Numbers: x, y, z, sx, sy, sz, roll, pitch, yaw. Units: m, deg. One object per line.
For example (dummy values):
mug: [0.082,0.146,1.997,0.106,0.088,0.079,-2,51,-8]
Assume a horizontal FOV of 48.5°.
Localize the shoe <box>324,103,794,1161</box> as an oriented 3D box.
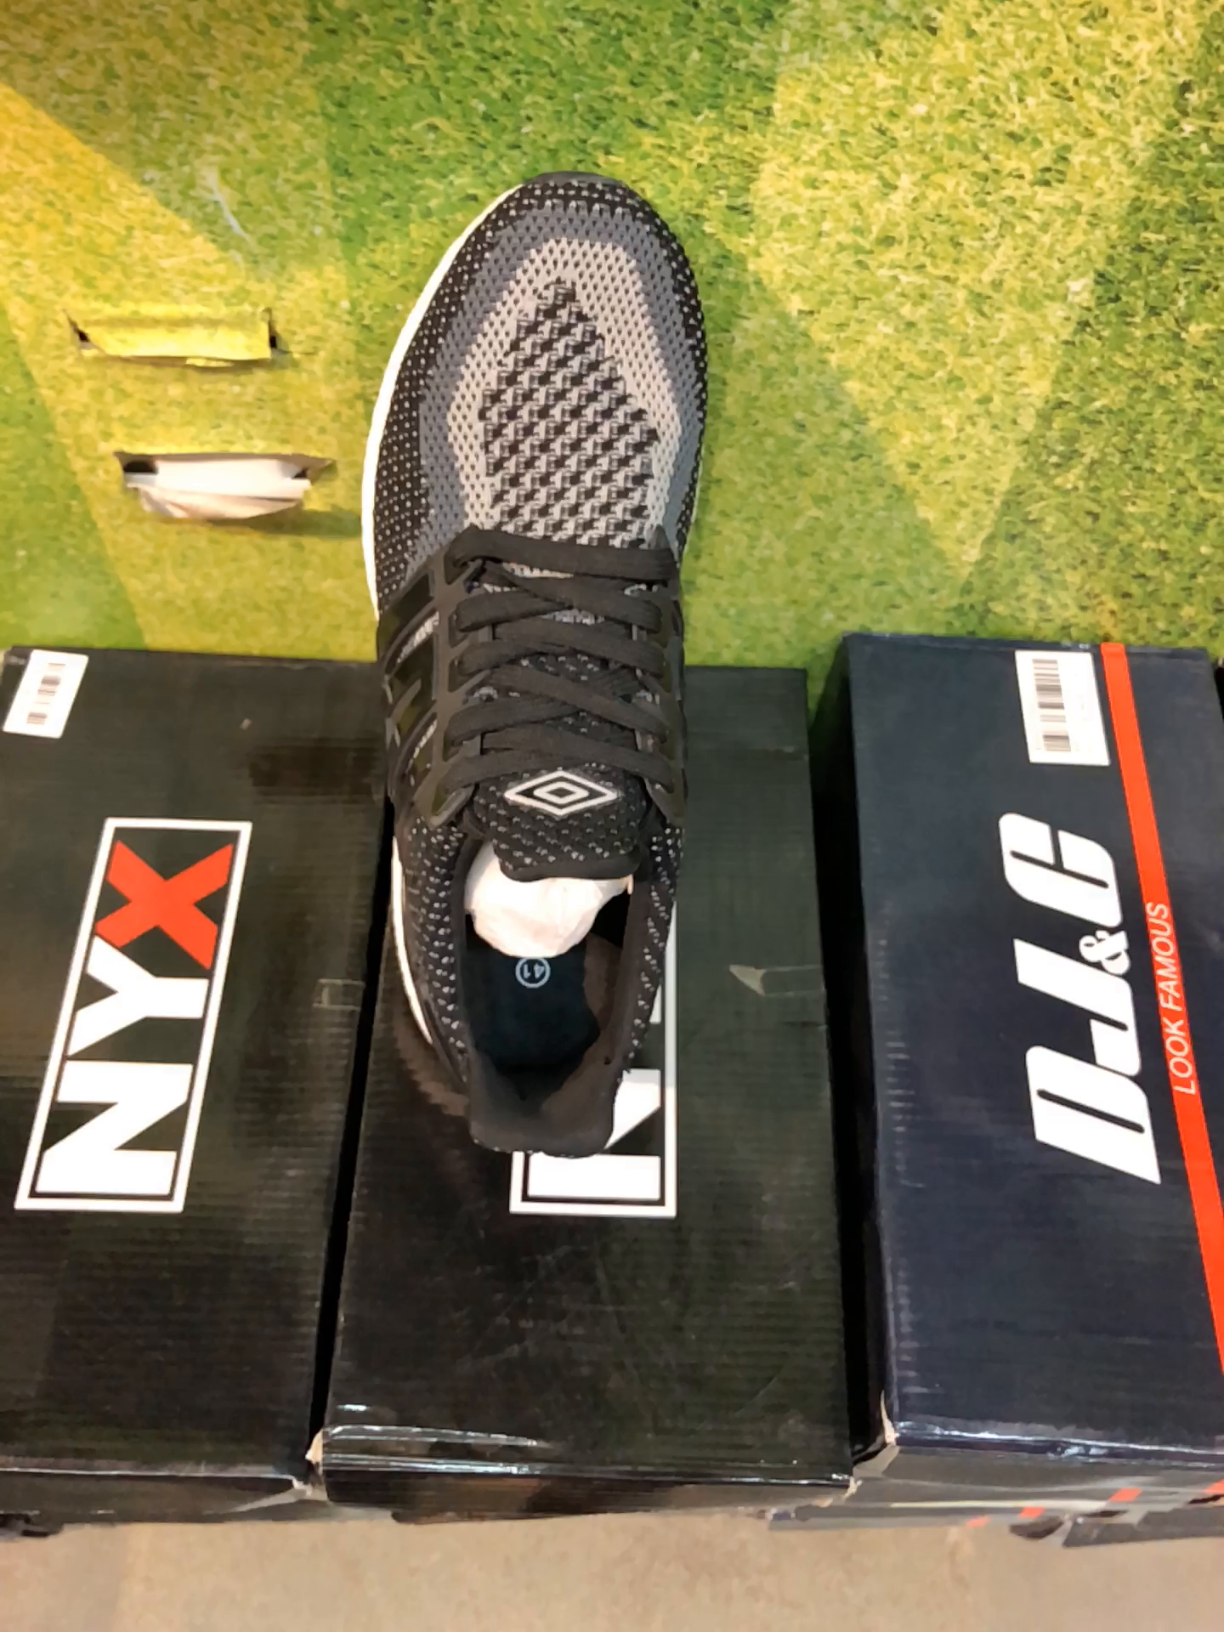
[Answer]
shoe: [-0.029,-0.049,0.418,0.111,0.122,0.268,0,102,-14]
